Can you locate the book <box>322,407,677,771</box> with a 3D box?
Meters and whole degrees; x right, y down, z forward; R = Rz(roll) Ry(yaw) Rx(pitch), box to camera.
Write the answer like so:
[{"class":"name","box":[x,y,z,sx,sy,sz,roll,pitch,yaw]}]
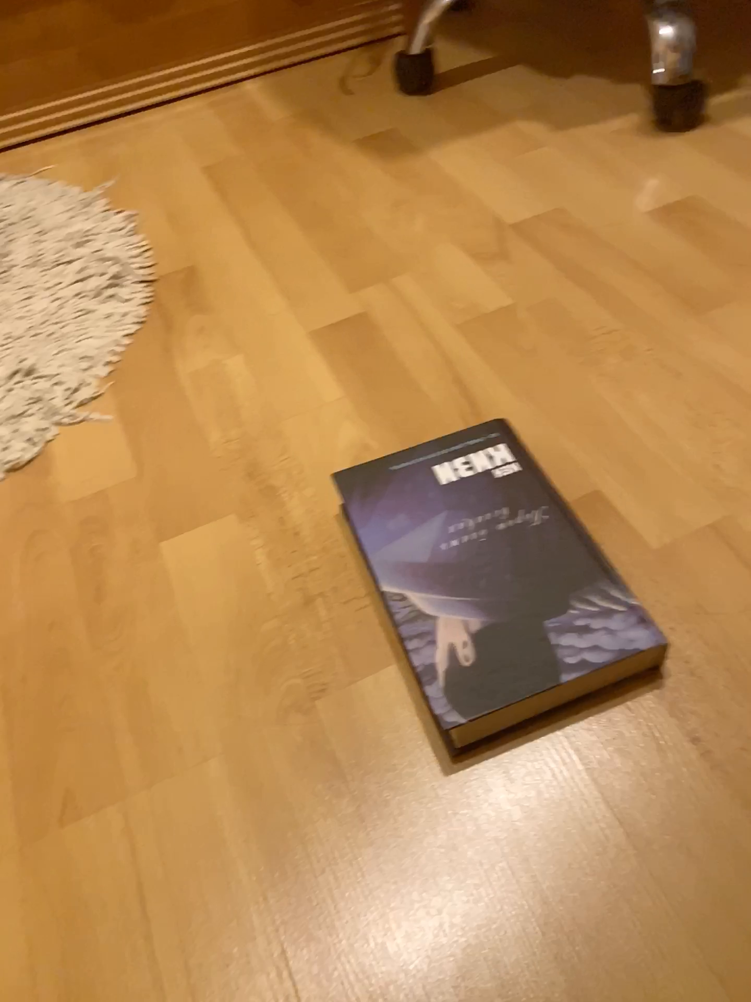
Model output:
[{"class":"book","box":[0.070,0.045,0.527,0.150,0.050,0.225,-18,49,-9]}]
